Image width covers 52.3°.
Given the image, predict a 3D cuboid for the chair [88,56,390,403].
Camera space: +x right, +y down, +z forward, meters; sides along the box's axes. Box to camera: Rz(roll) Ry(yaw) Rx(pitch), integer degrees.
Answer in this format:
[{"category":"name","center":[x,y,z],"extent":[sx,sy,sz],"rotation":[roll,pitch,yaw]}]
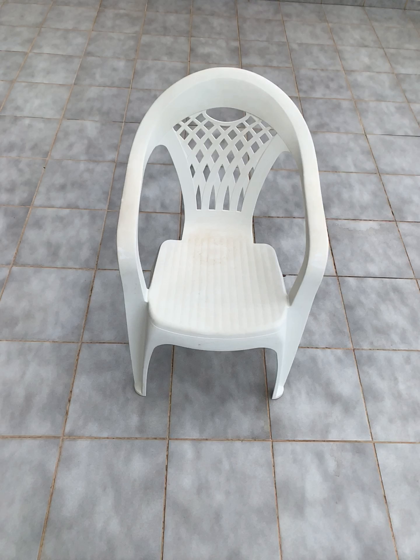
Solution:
[{"category":"chair","center":[0.030,-0.084,1.277],"extent":[0.543,0.823,0.612],"rotation":[2,54,-3]}]
